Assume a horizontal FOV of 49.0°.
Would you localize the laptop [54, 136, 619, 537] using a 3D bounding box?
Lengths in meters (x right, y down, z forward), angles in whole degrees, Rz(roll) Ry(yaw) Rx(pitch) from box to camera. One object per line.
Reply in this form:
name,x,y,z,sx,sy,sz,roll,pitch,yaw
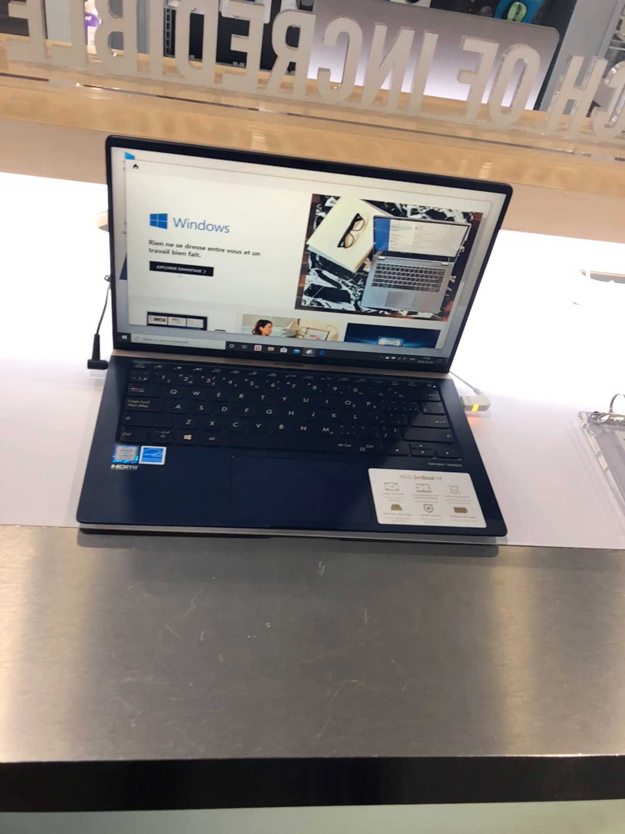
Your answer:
laptop,0.001,-0.053,0.486,0.301,0.182,0.192,3,41,-11
